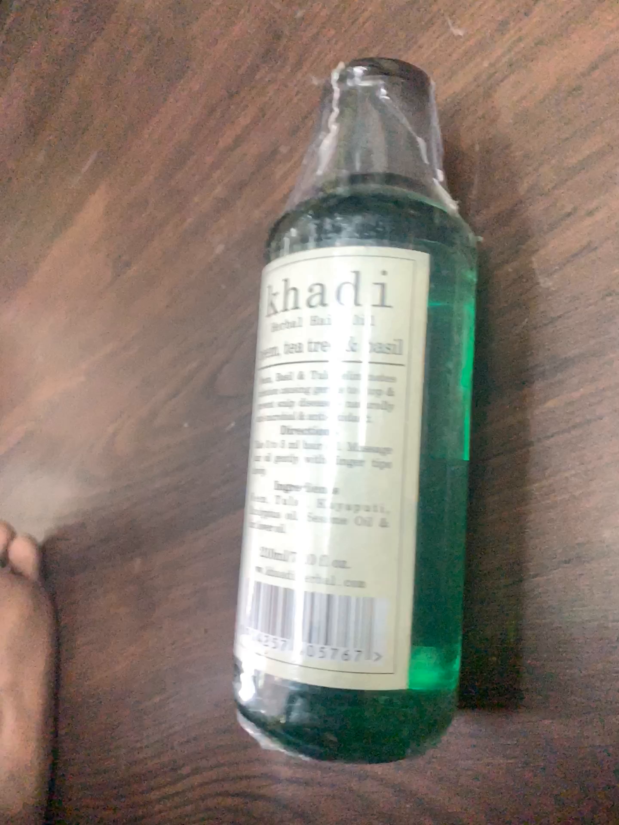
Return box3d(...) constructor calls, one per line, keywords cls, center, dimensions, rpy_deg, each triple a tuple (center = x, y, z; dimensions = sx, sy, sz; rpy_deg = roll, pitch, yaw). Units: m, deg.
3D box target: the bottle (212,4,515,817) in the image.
box3d(cls="bottle", center=(0.018, -0.003, 0.151), dimensions=(0.050, 0.050, 0.150), rpy_deg=(2, 83, 20))
